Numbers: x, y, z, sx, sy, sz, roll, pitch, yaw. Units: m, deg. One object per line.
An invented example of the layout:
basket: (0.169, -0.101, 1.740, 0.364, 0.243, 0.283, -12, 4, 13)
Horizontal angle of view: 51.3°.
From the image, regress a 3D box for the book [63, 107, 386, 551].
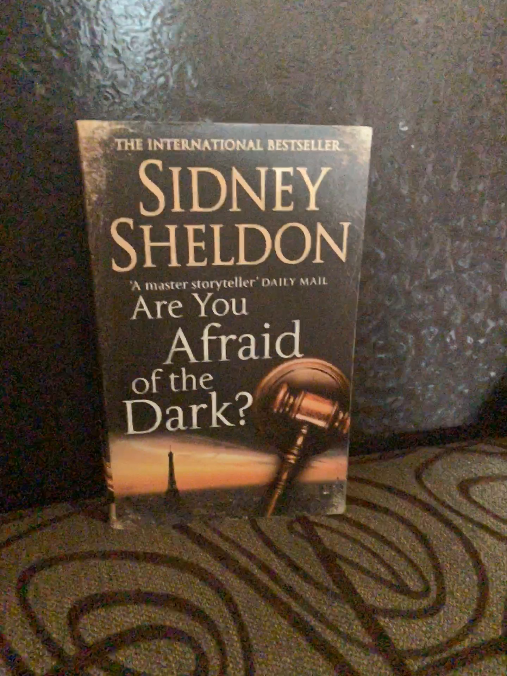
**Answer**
book: (-0.016, 0.001, 0.237, 0.120, 0.179, 0.040, 0, 16, -12)
